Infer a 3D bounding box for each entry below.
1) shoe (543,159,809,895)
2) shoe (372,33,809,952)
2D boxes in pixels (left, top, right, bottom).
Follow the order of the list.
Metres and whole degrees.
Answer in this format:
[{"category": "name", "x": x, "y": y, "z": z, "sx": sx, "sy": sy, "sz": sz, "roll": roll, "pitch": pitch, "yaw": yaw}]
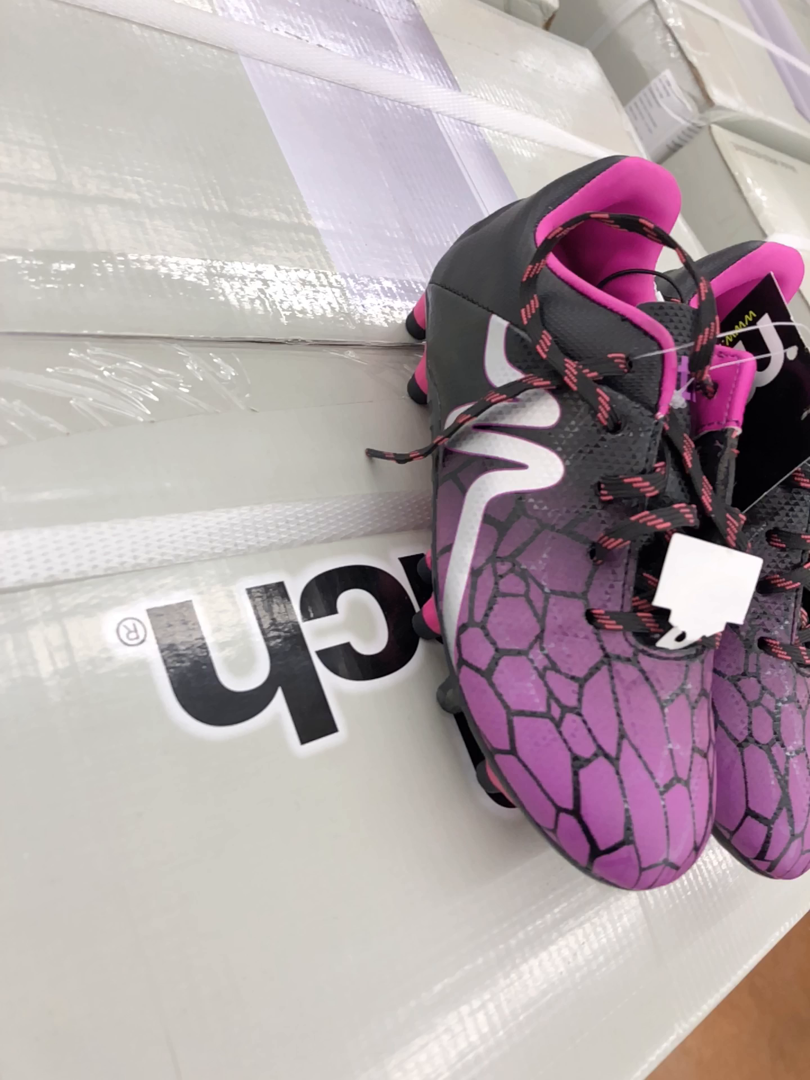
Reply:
[{"category": "shoe", "x": 0.124, "y": -0.004, "z": 0.297, "sx": 0.080, "sy": 0.080, "sz": 0.210, "roll": 9, "pitch": 60, "yaw": -37}, {"category": "shoe", "x": 0.059, "y": -0.013, "z": 0.240, "sx": 0.080, "sy": 0.080, "sz": 0.210, "roll": 11, "pitch": 60, "yaw": -37}]
